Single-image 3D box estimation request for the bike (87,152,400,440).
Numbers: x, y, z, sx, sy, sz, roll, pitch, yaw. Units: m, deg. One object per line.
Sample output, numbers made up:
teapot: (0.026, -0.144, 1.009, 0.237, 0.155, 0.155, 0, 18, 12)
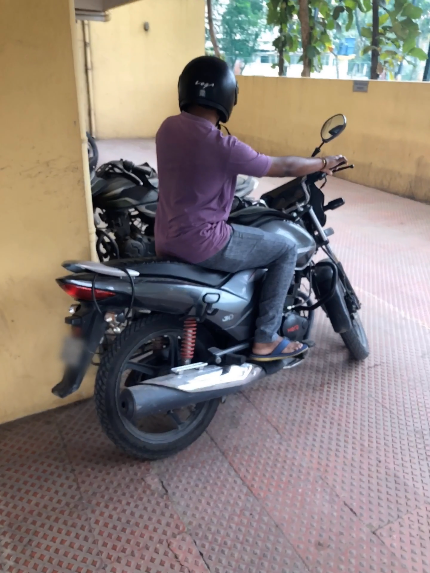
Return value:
bike: (0.161, -0.080, 2.316, 1.240, 1.000, 0.701, -16, 29, -38)
